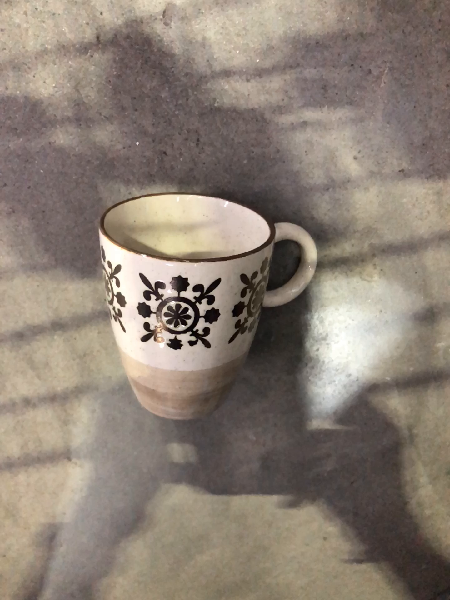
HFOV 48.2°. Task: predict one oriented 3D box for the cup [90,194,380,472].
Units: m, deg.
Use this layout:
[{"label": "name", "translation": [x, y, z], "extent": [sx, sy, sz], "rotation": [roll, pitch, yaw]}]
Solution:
[{"label": "cup", "translation": [-0.003, 0.008, 0.228], "extent": [0.100, 0.070, 0.090], "rotation": [-7, 122, -21]}]
